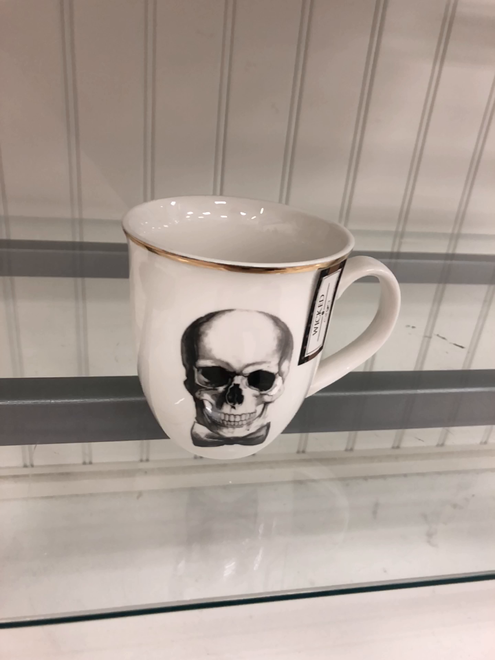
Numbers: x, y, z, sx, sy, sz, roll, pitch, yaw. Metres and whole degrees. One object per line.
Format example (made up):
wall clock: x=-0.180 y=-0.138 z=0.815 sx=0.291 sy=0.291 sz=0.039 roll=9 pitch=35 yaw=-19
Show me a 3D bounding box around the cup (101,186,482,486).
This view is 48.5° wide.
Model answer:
cup: x=0.009 y=-0.009 z=0.247 sx=0.131 sy=0.088 sz=0.095 roll=-5 pitch=29 yaw=-21
